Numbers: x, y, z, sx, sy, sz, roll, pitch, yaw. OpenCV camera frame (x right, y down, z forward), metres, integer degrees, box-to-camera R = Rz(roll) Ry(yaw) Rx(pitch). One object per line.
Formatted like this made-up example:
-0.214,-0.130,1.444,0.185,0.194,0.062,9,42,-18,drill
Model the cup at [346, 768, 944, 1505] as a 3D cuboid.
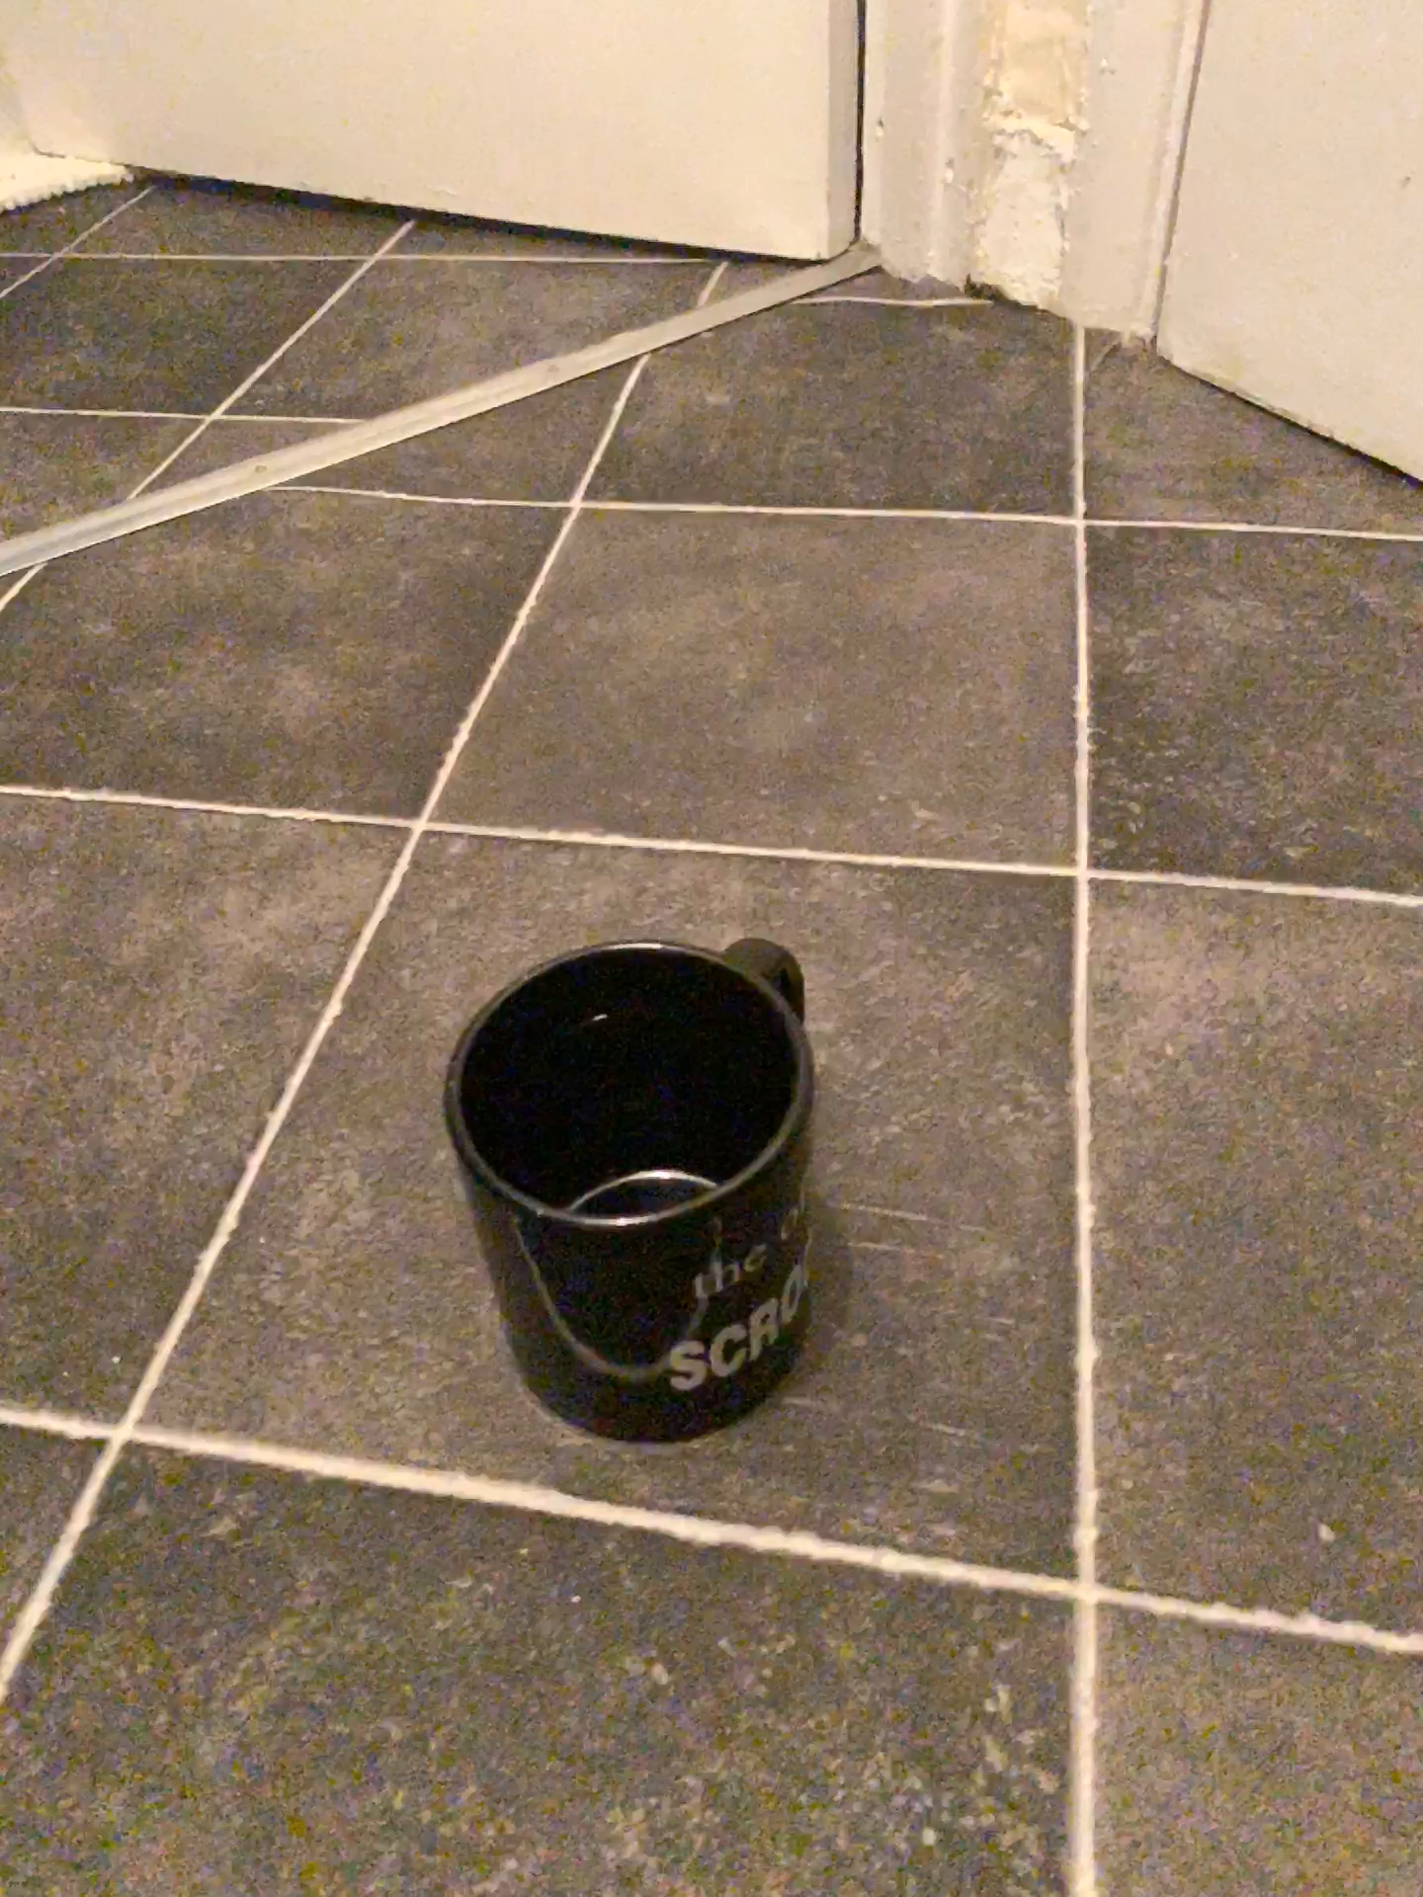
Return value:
-0.007,0.041,0.363,0.090,0.099,0.131,14,47,18,cup
